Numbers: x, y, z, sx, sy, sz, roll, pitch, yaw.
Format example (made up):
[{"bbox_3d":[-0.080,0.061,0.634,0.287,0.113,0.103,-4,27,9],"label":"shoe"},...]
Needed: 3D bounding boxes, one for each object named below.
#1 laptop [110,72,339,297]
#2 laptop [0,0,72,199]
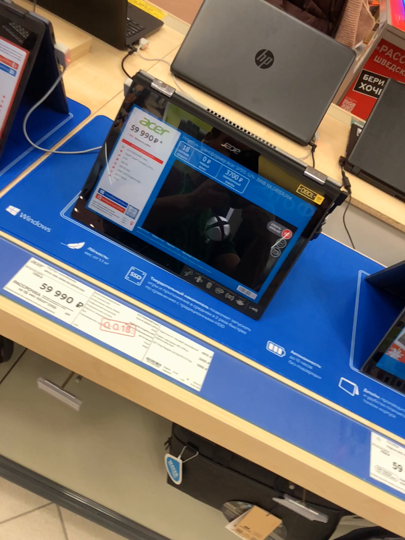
[{"bbox_3d":[0.001,-0.101,0.783,0.307,0.159,0.201,28,8,-9],"label":"laptop"},{"bbox_3d":[-0.375,-0.301,0.732,0.269,0.179,0.175,28,14,-5],"label":"laptop"}]
